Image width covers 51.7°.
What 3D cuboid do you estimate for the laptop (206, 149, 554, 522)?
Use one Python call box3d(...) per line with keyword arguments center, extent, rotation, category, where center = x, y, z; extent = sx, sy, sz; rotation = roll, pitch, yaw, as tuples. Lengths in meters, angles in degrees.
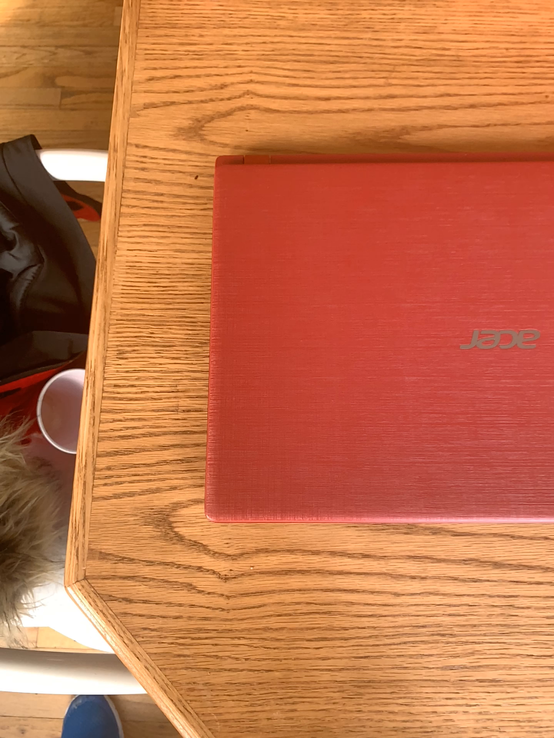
box3d(center=(0.138, -0.026, 0.365), extent=(0.362, 0.013, 0.236), rotation=(0, 79, 3), category="laptop")
